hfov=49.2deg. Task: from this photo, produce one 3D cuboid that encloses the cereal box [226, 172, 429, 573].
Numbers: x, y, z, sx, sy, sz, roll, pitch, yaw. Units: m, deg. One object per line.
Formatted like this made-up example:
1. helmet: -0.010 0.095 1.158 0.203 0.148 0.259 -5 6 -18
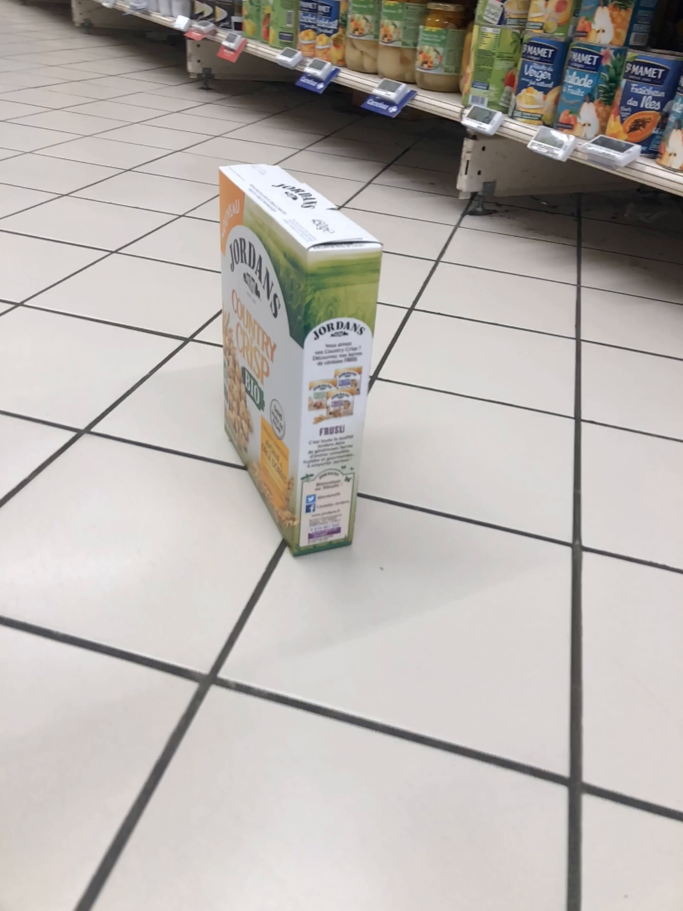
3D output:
1. cereal box: -0.025 -0.065 0.519 0.060 0.209 0.191 -7 35 -21
